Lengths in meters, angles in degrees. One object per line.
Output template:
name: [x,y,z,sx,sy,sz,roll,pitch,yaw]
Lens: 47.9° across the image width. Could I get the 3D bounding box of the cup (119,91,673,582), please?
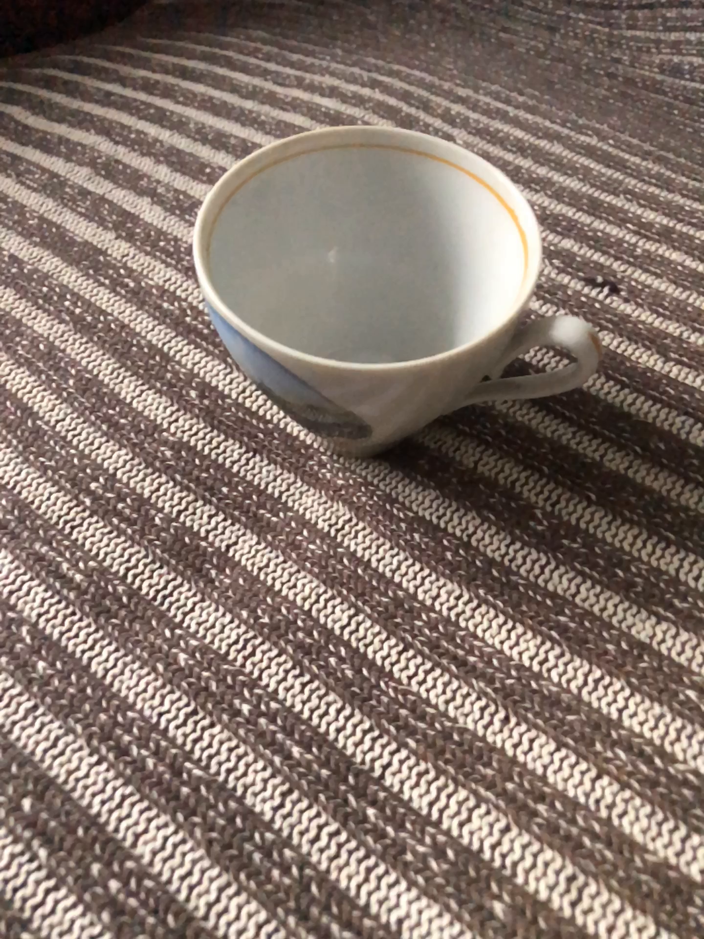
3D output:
cup: [0.009,-0.029,0.159,0.079,0.042,0.061,26,63,16]
